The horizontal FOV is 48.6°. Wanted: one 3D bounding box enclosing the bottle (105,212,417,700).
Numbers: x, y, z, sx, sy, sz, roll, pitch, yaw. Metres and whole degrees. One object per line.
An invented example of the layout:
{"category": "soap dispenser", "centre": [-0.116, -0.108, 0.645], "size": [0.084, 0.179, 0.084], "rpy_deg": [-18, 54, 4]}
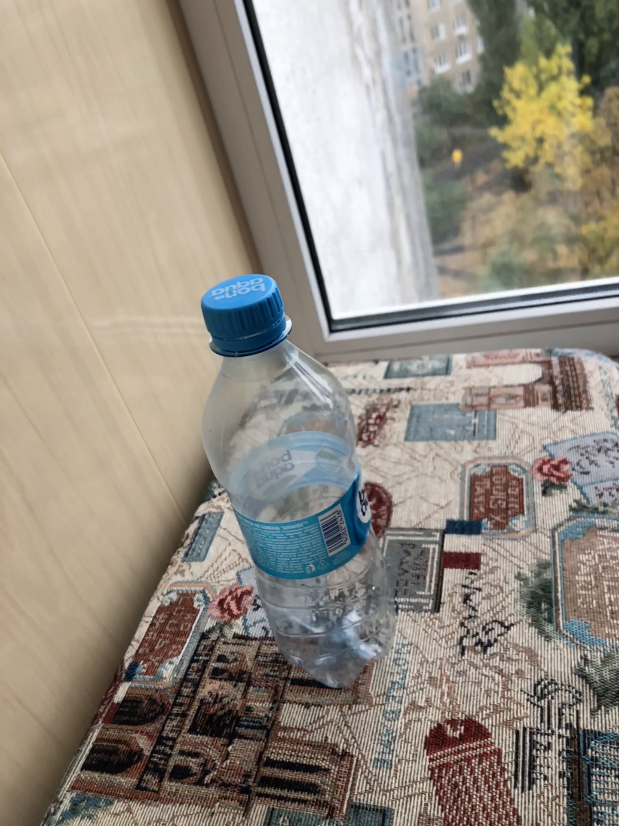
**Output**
{"category": "bottle", "centre": [-0.007, 0.031, 0.310], "size": [0.070, 0.208, 0.081], "rpy_deg": [-12, 35, 8]}
